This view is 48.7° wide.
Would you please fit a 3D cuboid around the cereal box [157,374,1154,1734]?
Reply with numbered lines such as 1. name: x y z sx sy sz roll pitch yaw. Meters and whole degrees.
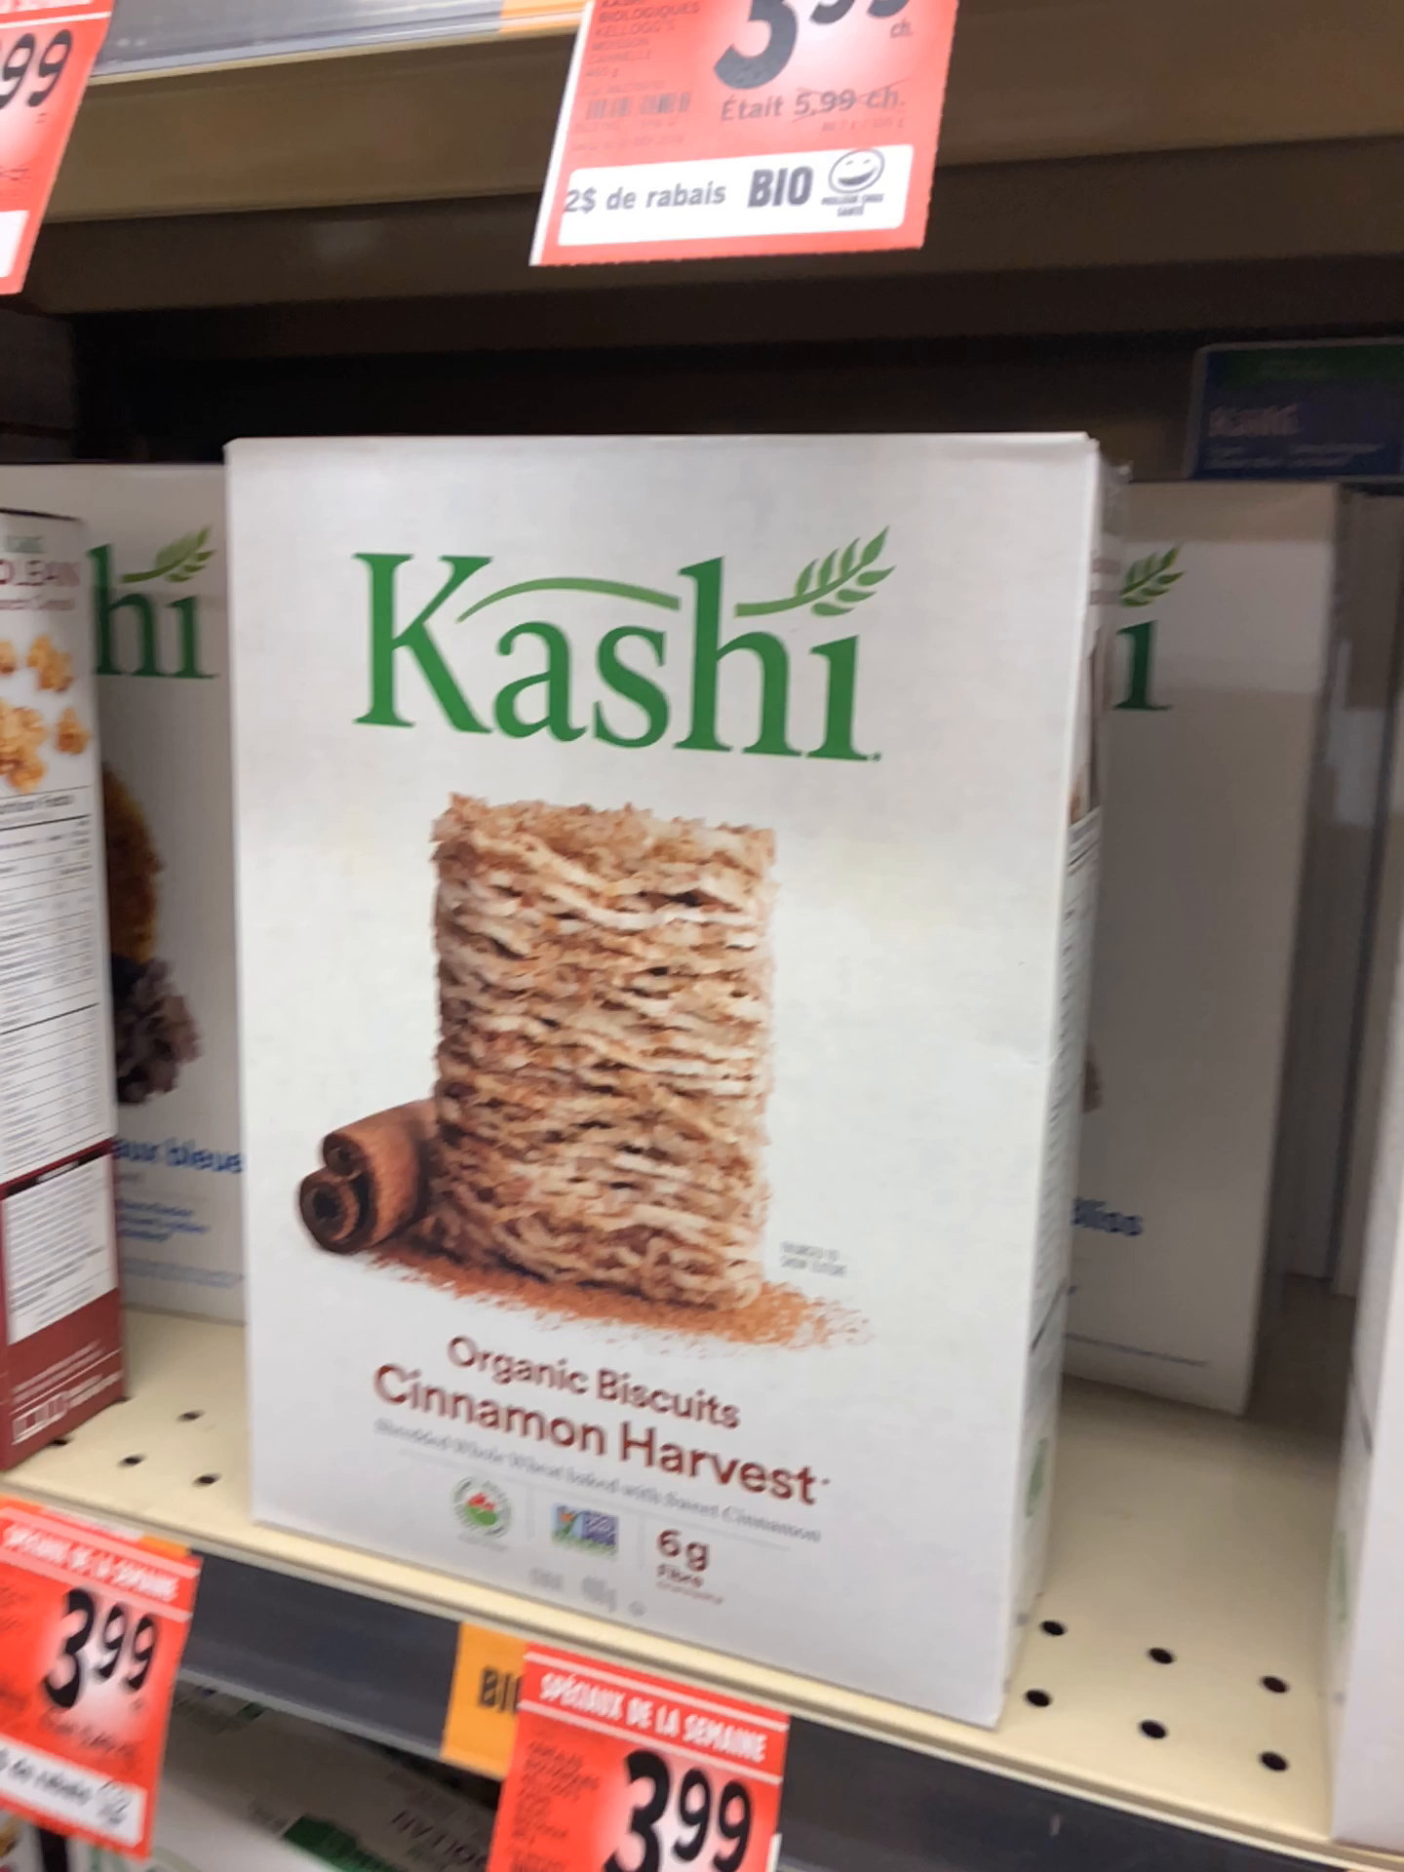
1. cereal box: -0.013 0.018 0.360 0.200 0.269 0.070 6 15 21
